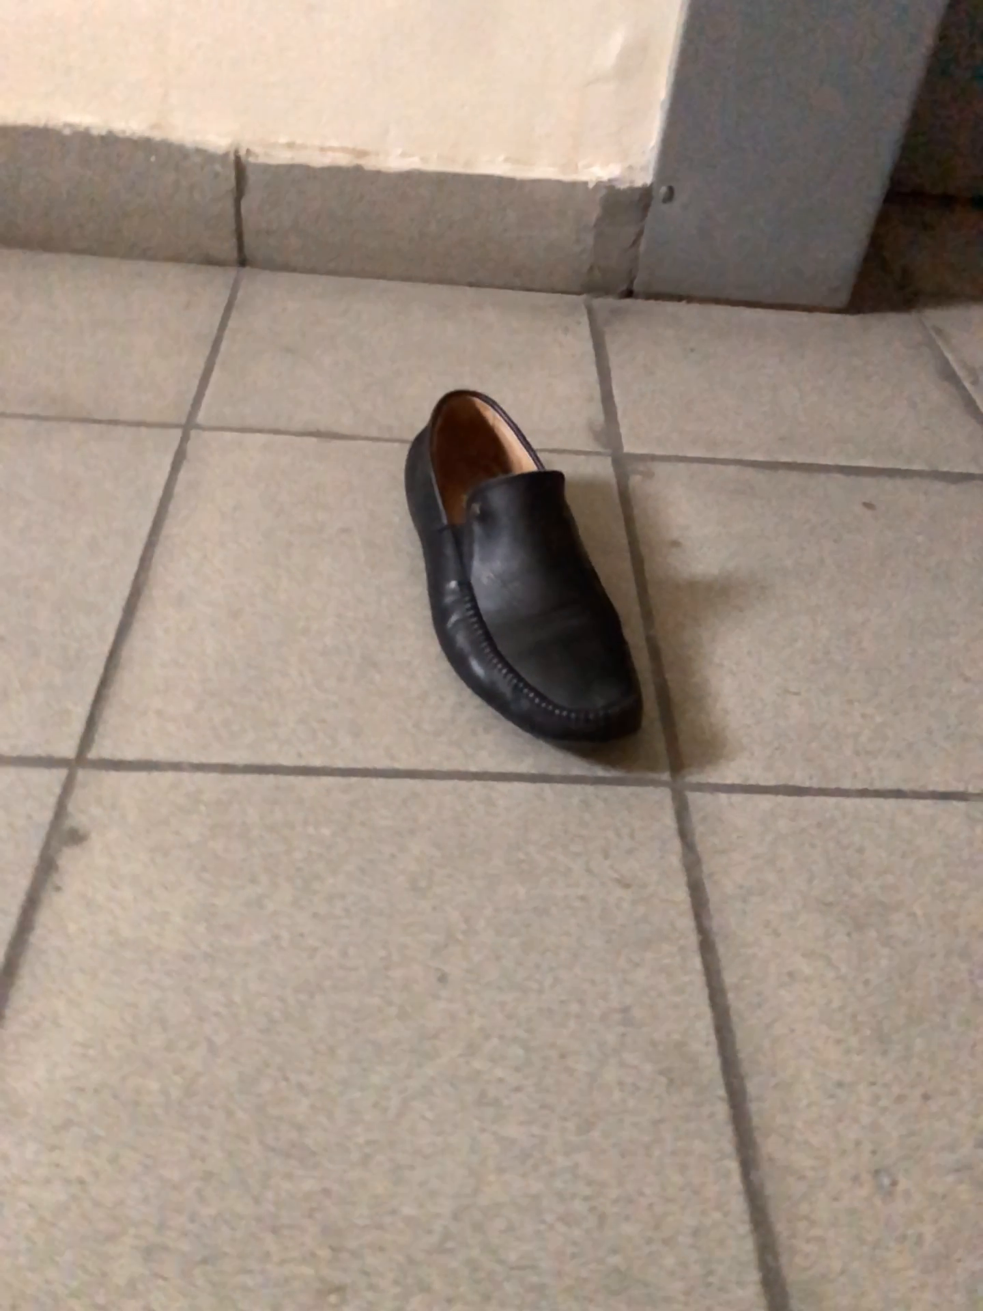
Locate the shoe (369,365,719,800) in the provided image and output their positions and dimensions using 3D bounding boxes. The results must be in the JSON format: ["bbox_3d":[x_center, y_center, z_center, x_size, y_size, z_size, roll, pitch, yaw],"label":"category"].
[{"bbox_3d":[0.013,-0.057,0.615,0.107,0.079,0.272,-9,46,-16],"label":"shoe"}]
